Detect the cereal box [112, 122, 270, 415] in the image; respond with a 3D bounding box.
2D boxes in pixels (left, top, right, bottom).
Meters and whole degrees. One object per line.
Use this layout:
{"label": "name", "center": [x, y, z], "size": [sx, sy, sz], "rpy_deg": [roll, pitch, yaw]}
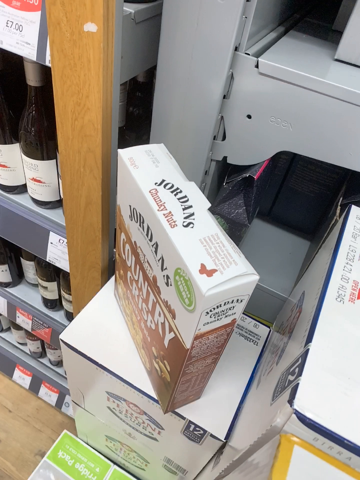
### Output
{"label": "cereal box", "center": [-0.018, 0.041, 0.398], "size": [0.050, 0.258, 0.191], "rpy_deg": [-13, 51, -23]}
